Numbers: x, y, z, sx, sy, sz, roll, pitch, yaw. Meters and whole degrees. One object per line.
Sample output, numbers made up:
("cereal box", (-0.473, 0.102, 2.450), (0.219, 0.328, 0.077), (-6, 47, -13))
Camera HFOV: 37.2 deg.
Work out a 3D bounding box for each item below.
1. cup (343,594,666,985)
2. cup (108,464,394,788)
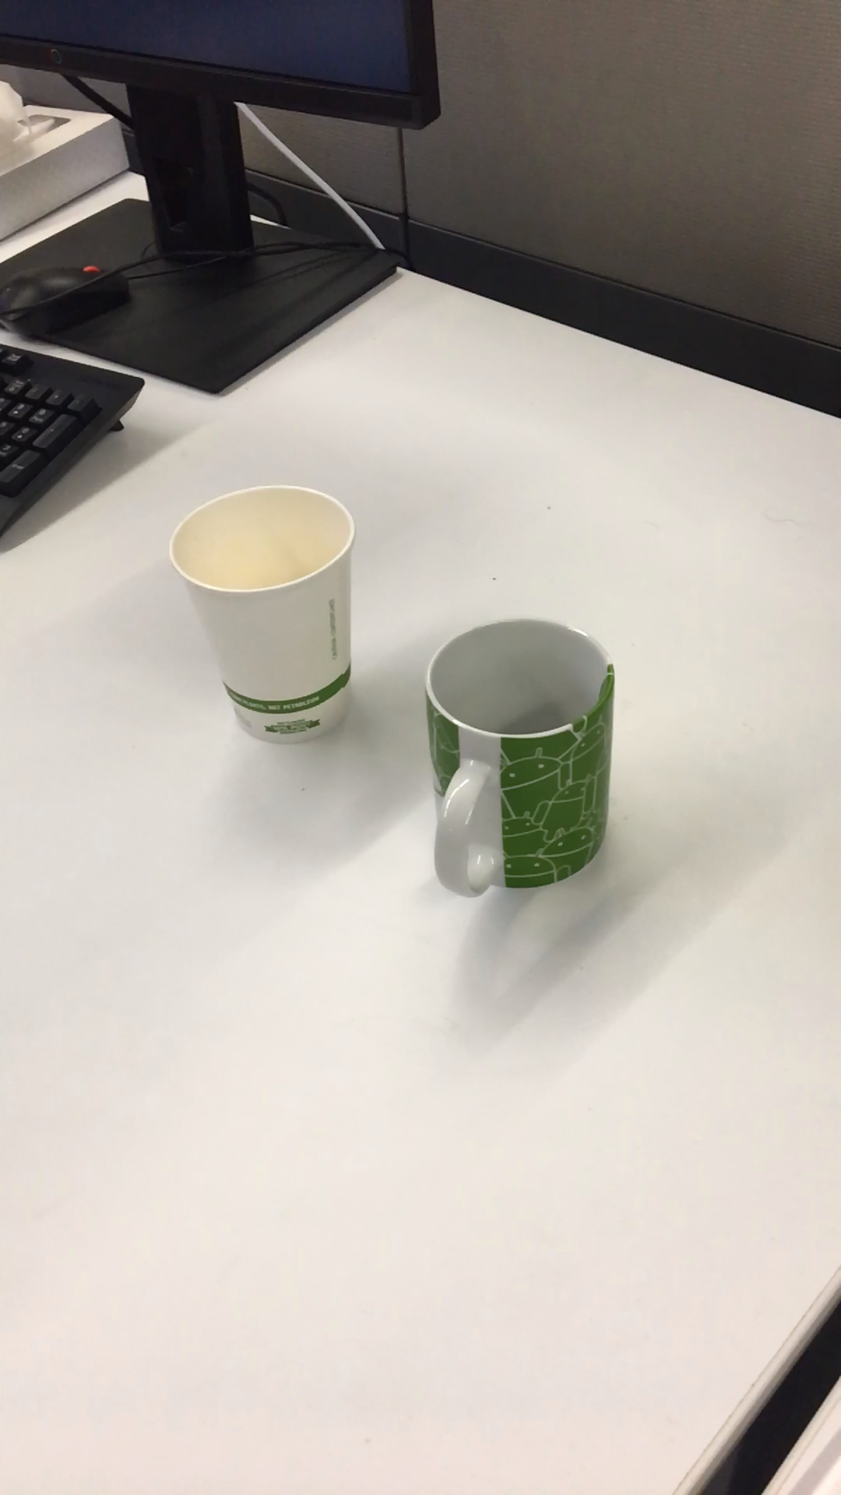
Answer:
("cup", (0.039, 0.014, 0.532), (0.090, 0.090, 0.120), (16, 47, 20))
("cup", (-0.077, -0.060, 0.612), (0.090, 0.110, 0.090), (-3, 44, 3))
